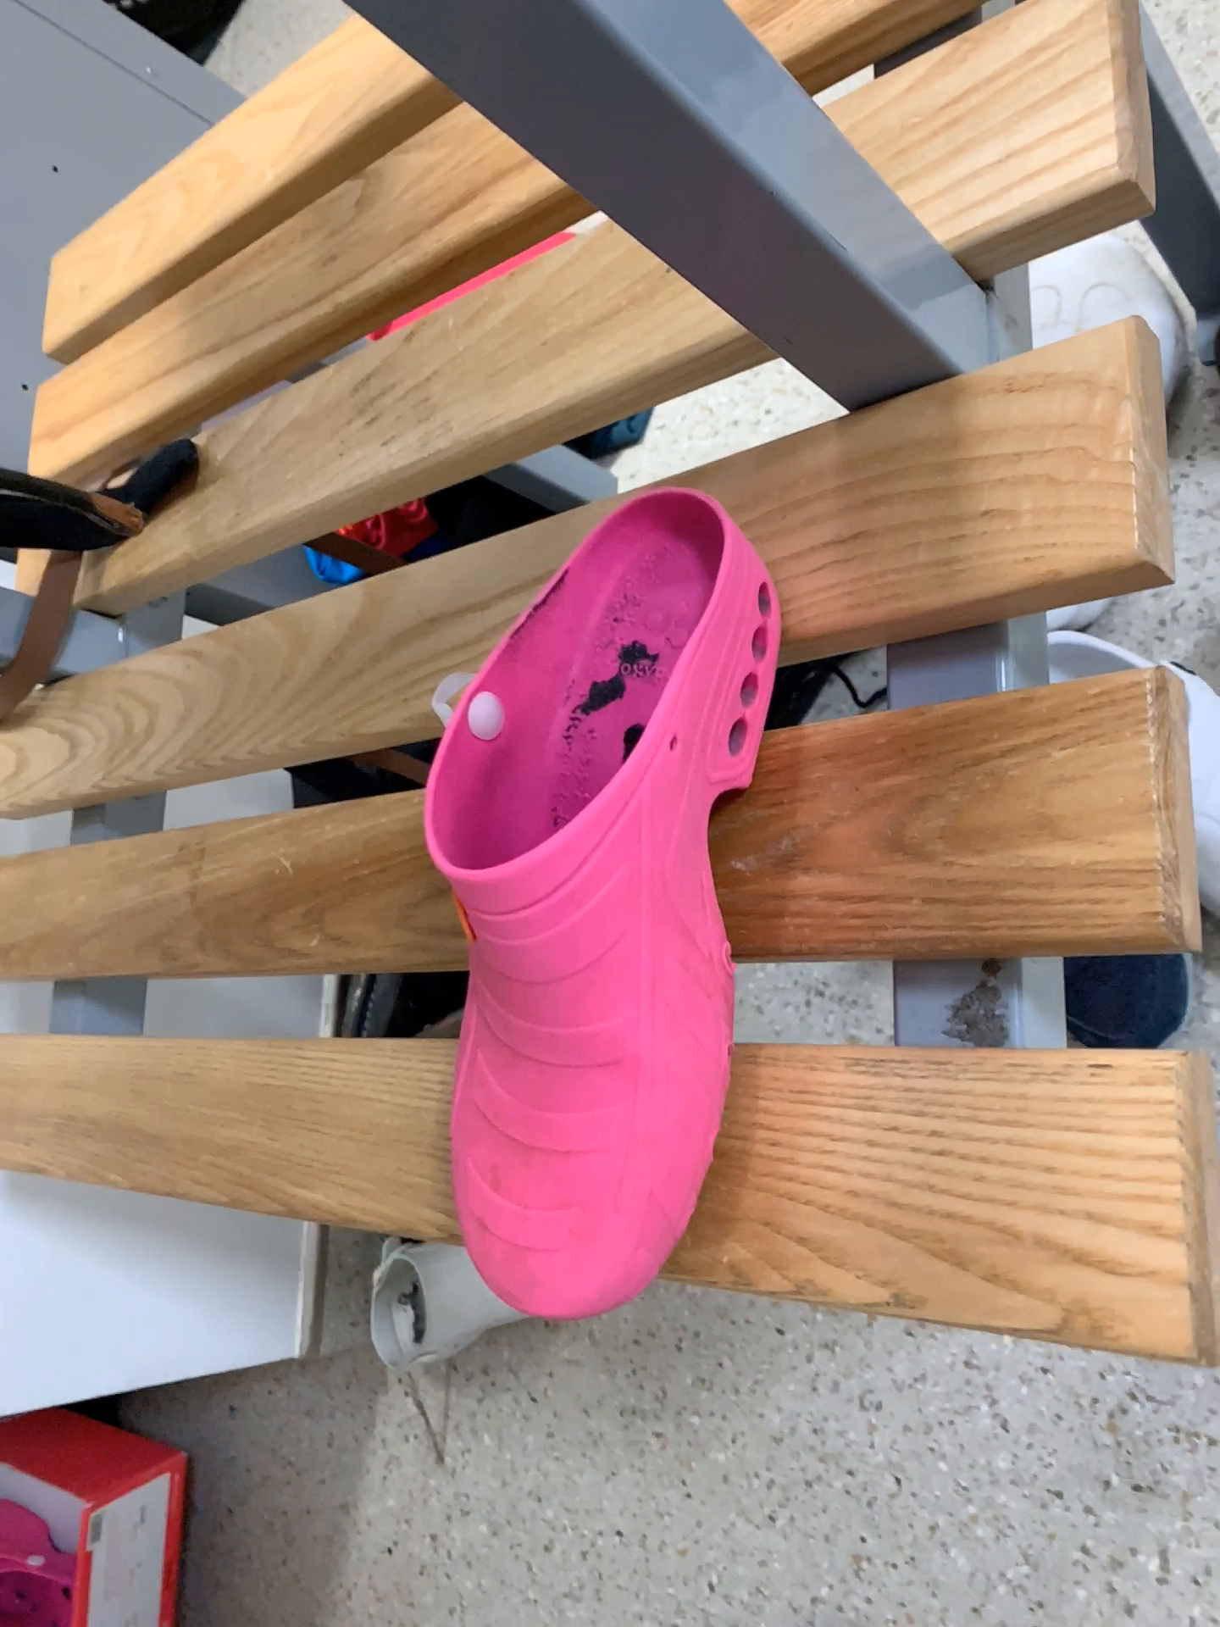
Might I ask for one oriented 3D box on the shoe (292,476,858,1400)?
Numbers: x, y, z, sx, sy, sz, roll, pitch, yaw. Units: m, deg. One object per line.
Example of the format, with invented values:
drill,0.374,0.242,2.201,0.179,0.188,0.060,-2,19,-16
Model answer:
shoe,-0.010,0.027,0.351,0.097,0.068,0.220,9,86,43
